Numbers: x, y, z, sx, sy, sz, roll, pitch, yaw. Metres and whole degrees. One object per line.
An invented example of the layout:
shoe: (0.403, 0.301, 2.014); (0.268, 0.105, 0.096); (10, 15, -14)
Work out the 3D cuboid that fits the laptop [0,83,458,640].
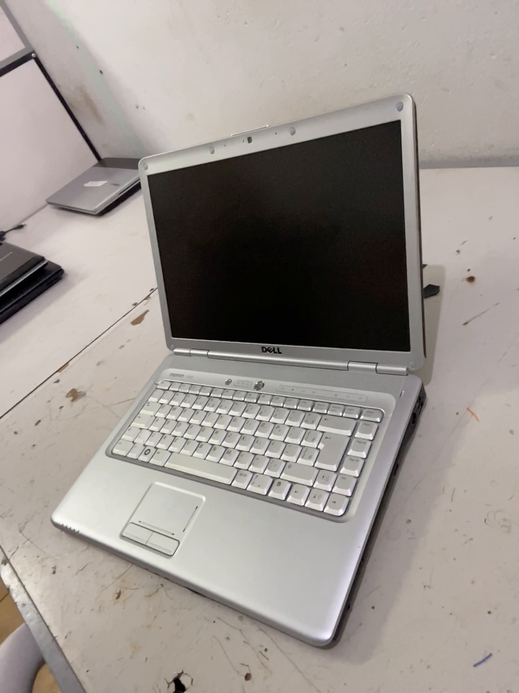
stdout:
laptop: (-0.048, -0.016, 0.516); (0.350, 0.208, 0.378); (4, 49, 37)
